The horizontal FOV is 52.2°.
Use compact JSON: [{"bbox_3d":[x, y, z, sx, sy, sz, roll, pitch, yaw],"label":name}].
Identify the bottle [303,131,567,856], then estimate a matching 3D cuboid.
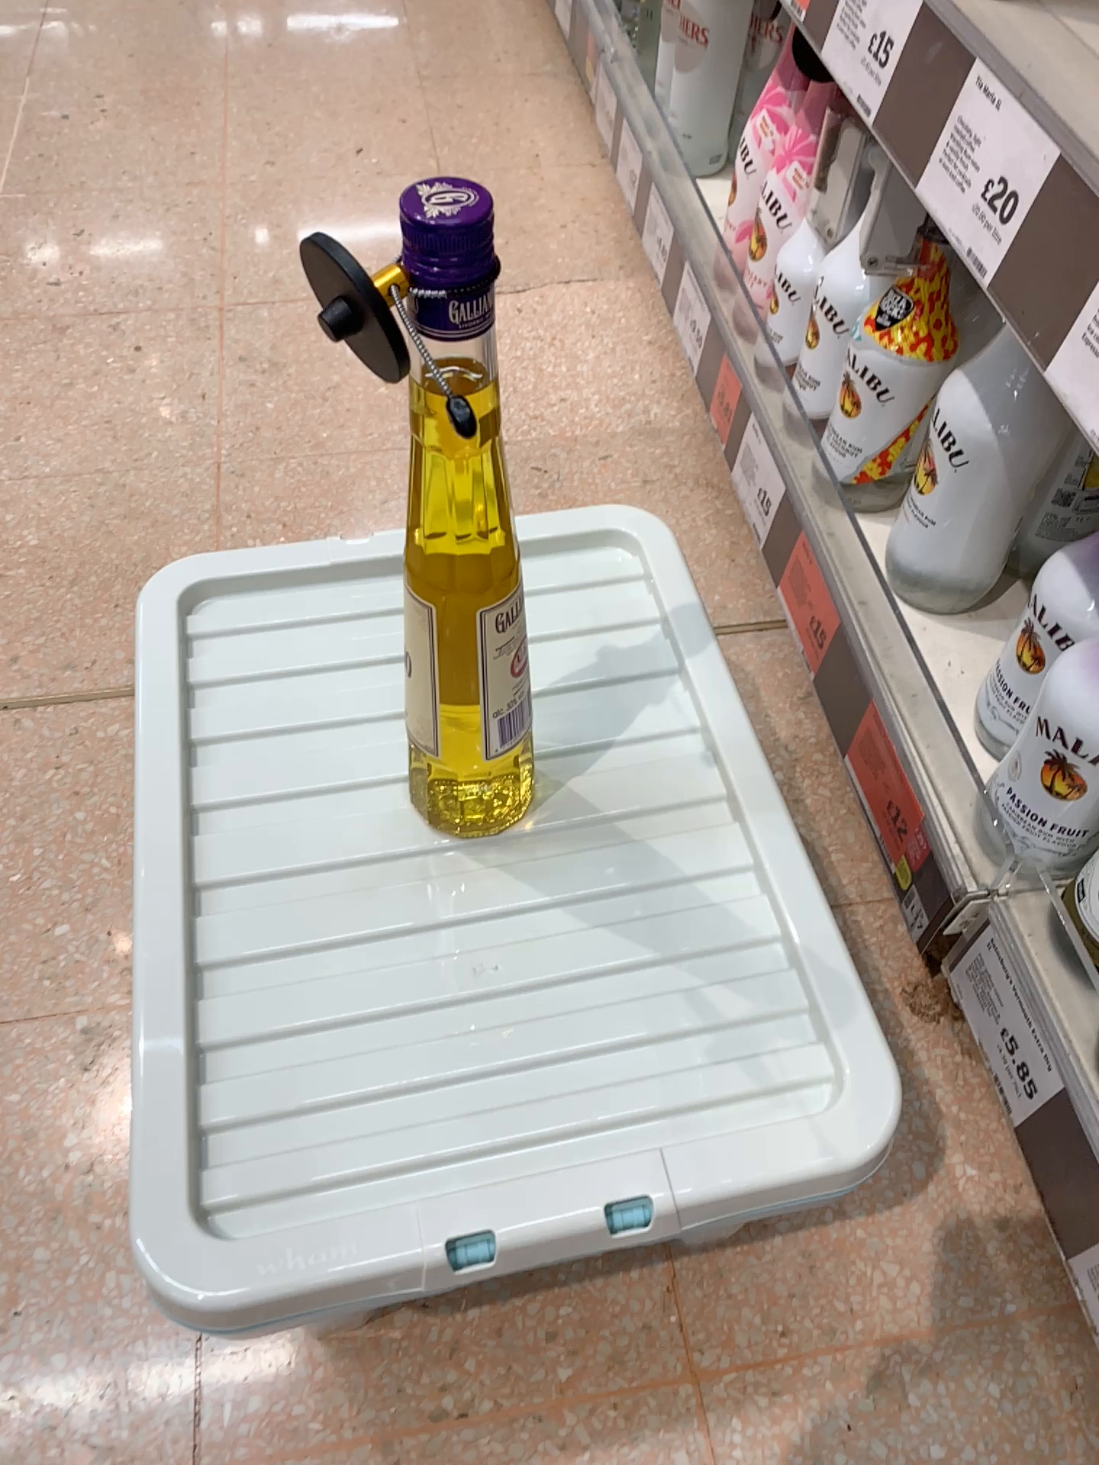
[{"bbox_3d":[-0.040,-0.071,0.505,0.070,0.347,0.073,1,53,-1],"label":"bottle"}]
